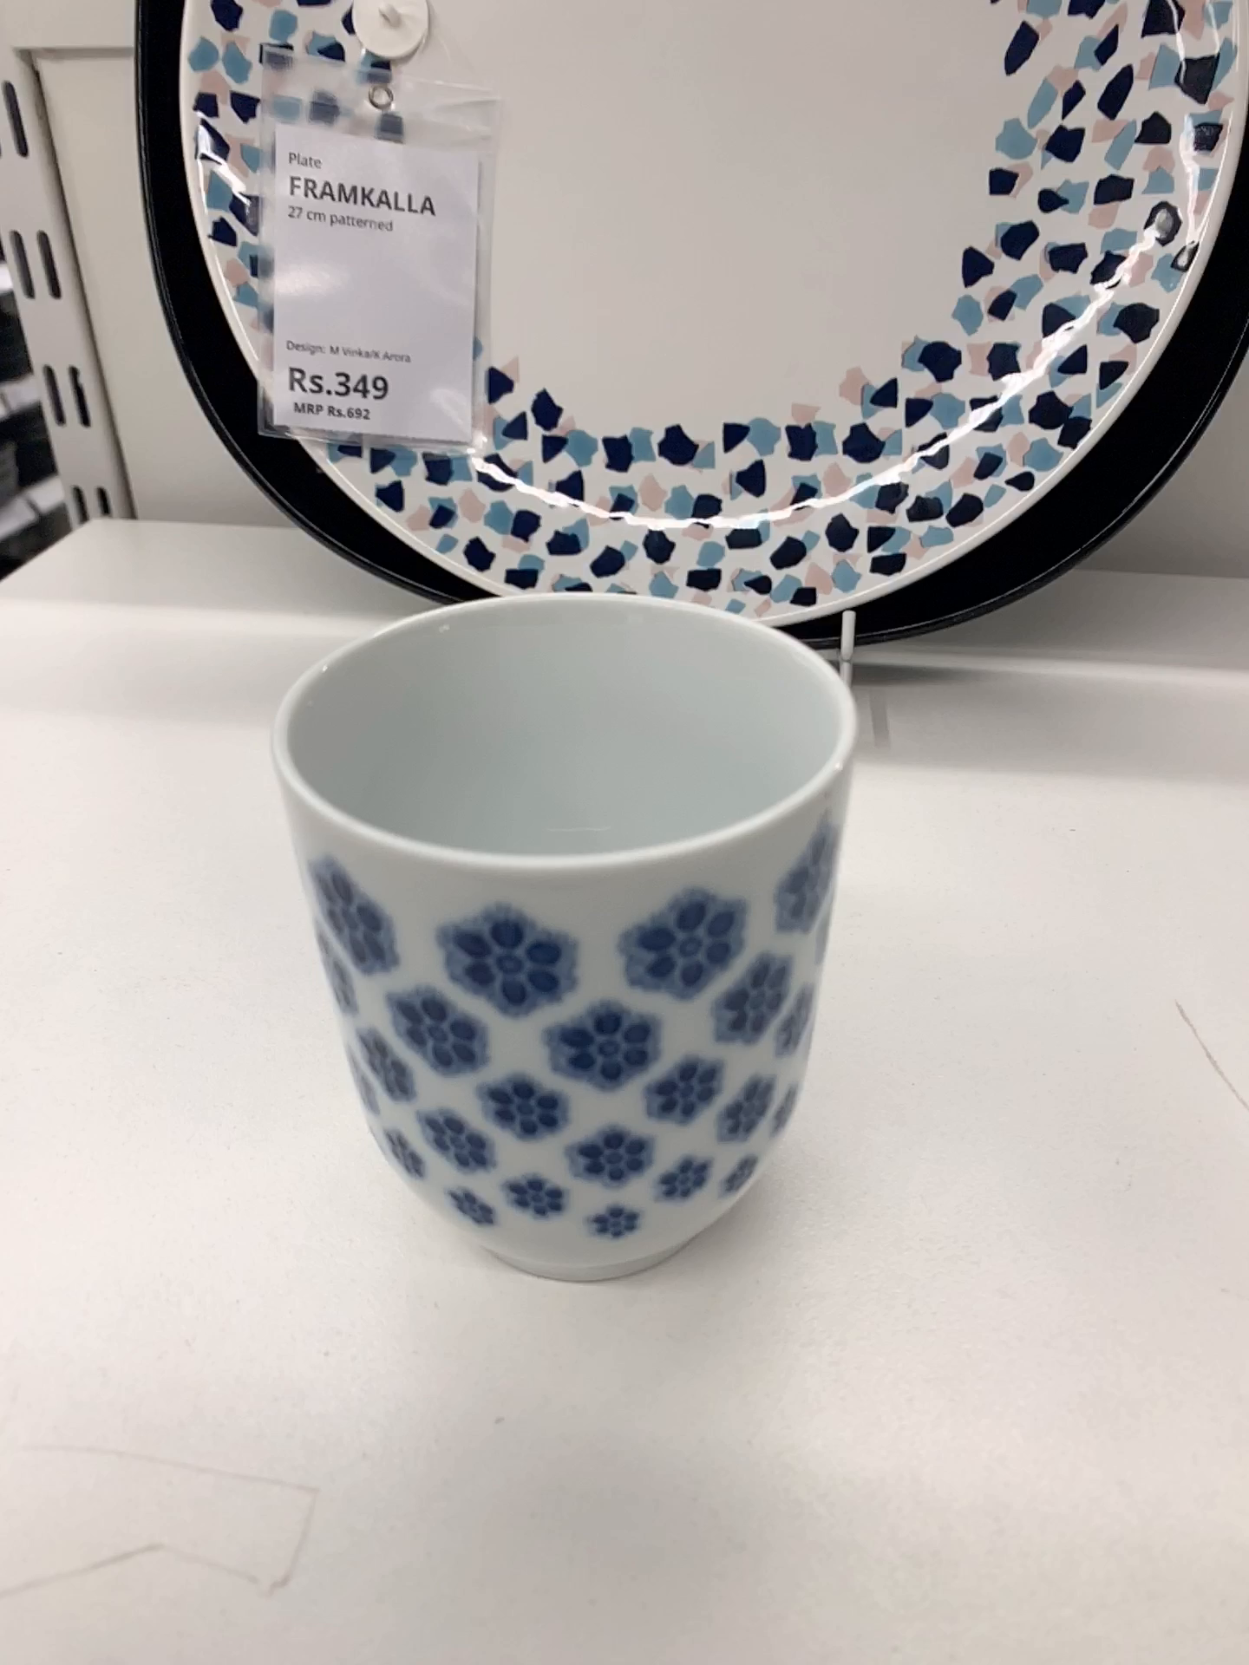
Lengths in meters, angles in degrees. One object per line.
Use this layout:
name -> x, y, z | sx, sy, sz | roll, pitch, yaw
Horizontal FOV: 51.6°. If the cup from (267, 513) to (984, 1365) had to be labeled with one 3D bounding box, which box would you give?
cup -> -0.006, 0.008, 0.187 | 0.070, 0.080, 0.080 | -11, 32, -16
